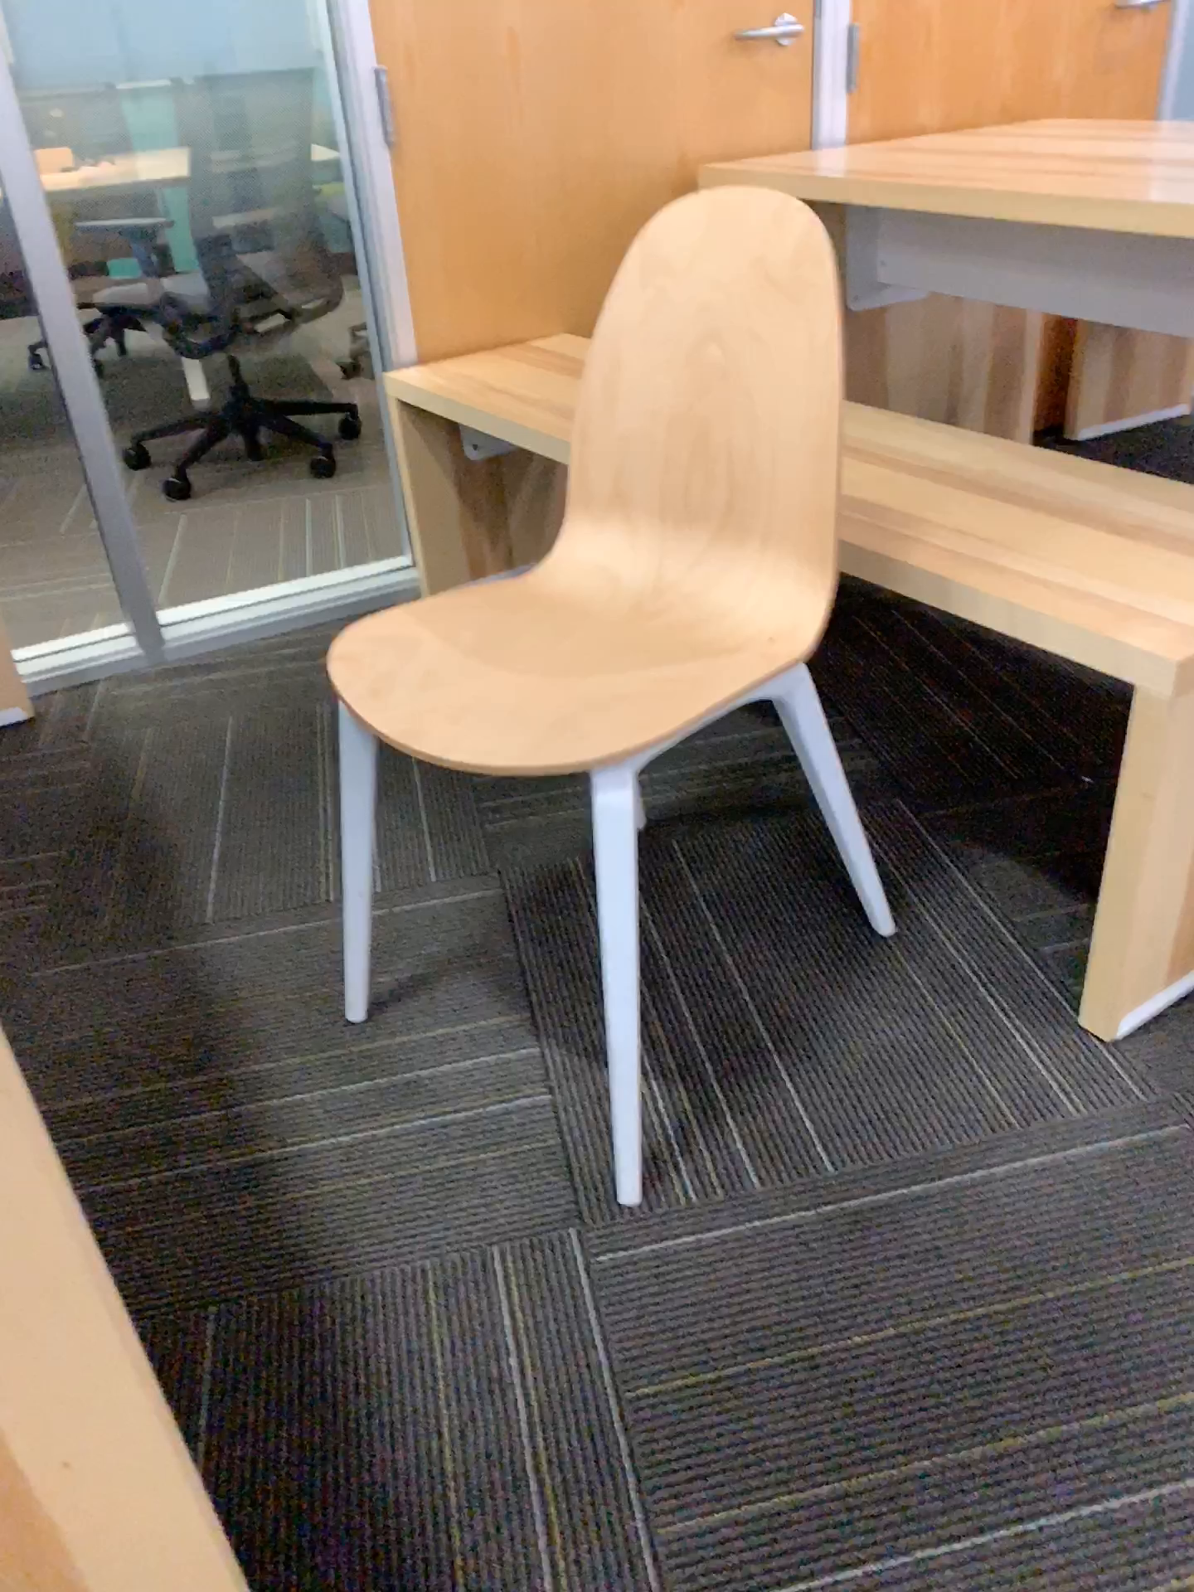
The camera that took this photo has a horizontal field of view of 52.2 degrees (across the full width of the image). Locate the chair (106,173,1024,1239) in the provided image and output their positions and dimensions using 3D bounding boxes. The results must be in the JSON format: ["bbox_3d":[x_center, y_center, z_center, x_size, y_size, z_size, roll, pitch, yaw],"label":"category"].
[{"bbox_3d":[0.010,-0.150,1.282,0.542,0.835,0.601,23,41,38],"label":"chair"}]
